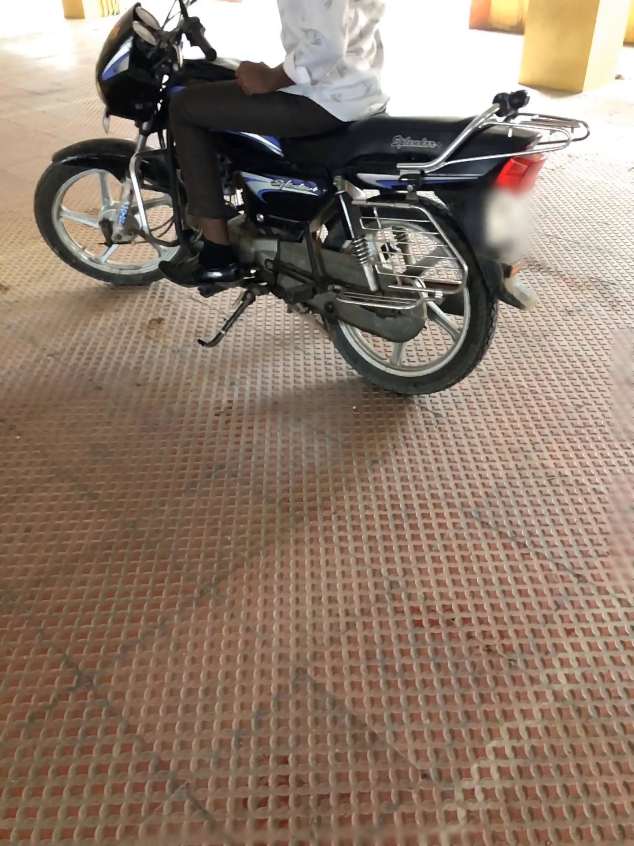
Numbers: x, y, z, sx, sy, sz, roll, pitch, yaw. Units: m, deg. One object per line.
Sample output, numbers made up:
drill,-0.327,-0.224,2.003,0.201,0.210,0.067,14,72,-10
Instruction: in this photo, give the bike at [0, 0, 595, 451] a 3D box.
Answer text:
bike,-0.187,-0.822,2.192,1.706,1.107,0.688,19,41,22
